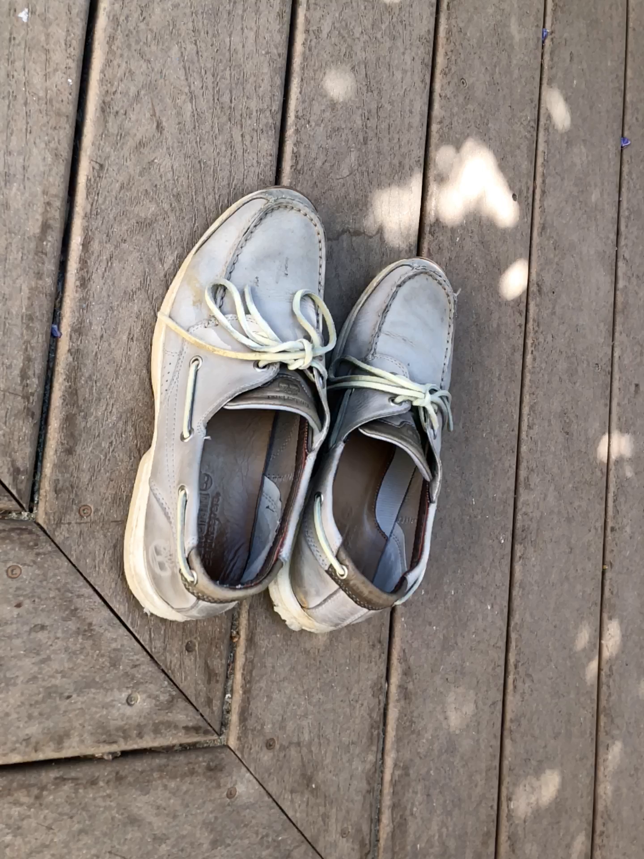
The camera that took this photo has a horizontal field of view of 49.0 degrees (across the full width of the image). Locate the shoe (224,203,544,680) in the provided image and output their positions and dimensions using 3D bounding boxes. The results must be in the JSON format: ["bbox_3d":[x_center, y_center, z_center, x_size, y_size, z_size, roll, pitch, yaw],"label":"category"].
[{"bbox_3d":[0.055,0.006,0.534,0.122,0.097,0.312,29,71,-30],"label":"shoe"}]

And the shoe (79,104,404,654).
[{"bbox_3d":[-0.047,-0.027,0.463,0.119,0.095,0.310,18,77,-33],"label":"shoe"}]
